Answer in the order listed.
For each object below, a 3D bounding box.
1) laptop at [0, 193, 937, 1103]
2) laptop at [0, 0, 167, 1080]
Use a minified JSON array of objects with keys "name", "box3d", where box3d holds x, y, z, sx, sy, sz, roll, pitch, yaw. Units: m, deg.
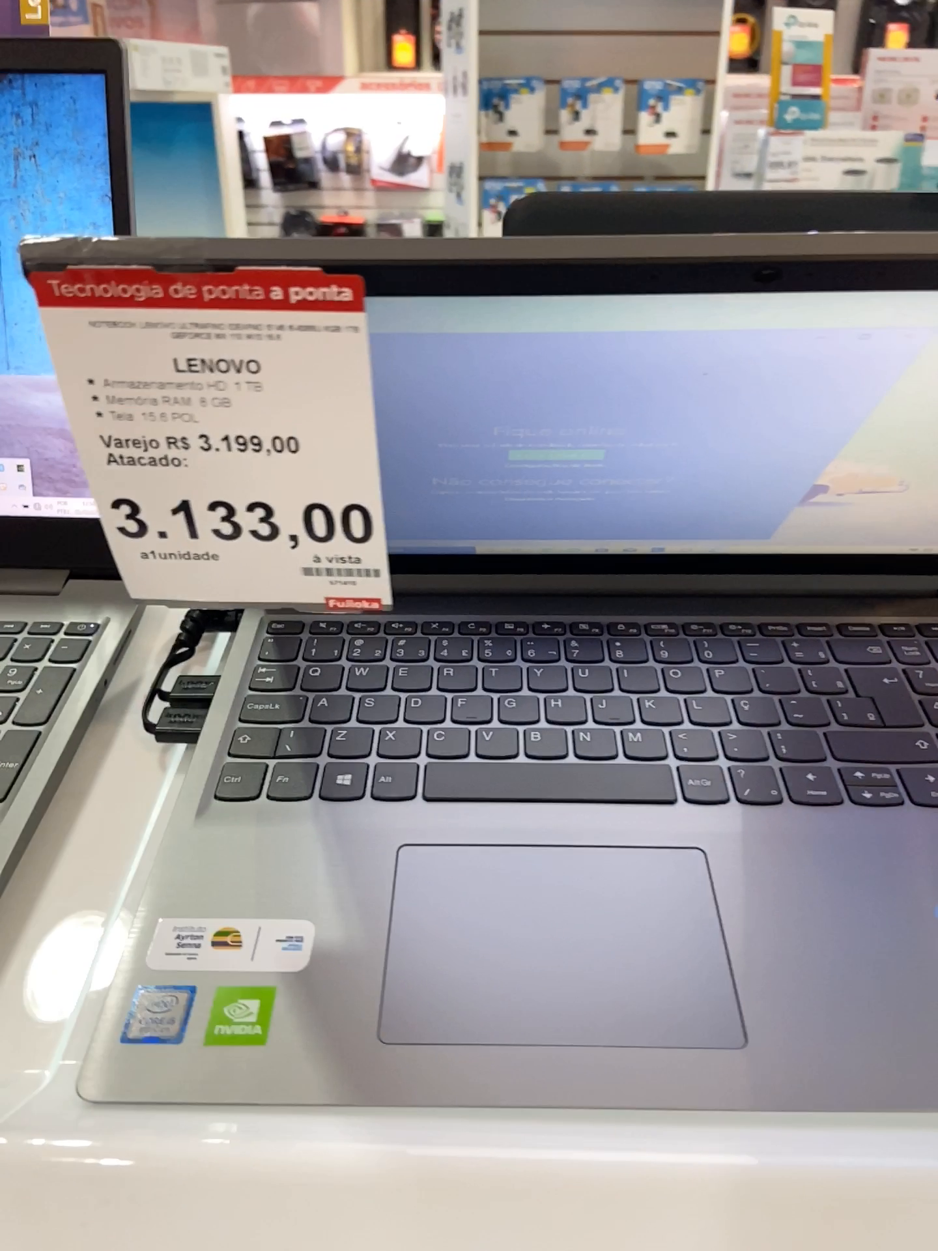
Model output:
[{"name":"laptop","box3d":[0.074,-0.020,0.321,0.359,0.163,0.243,0,34,1]},{"name":"laptop","box3d":[-0.337,-0.090,0.362,0.346,0.224,0.353,1,34,-2]}]
